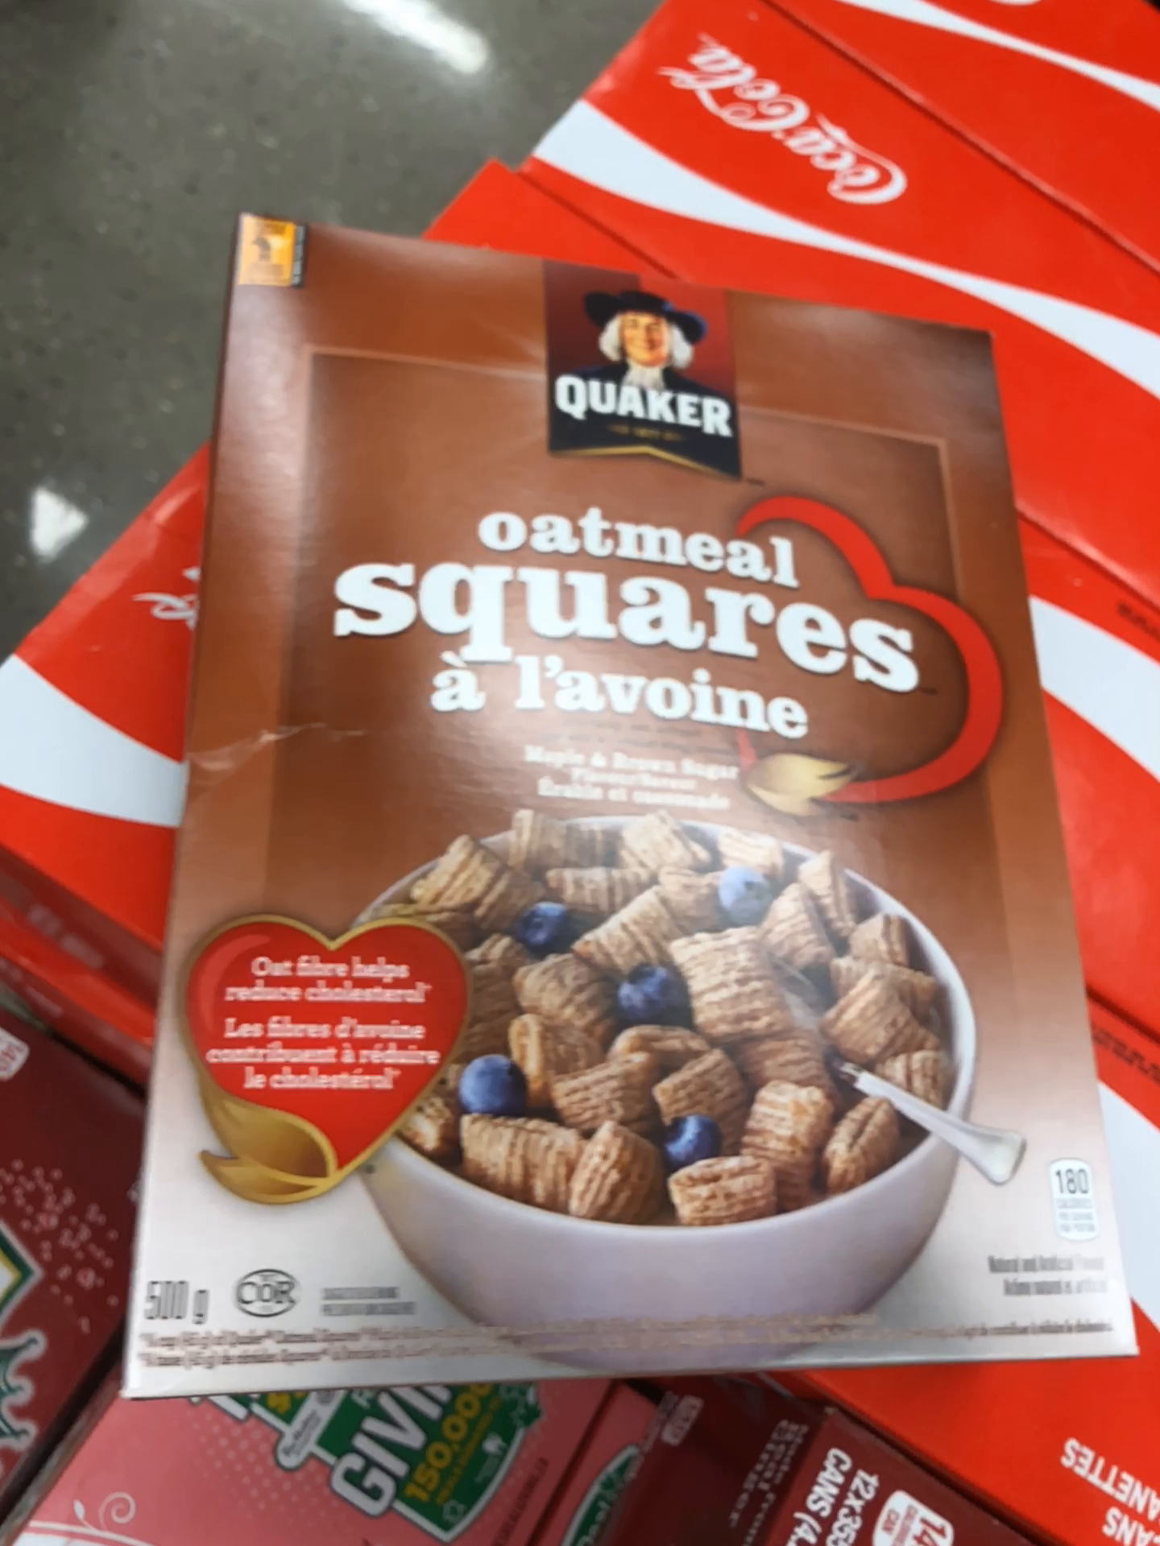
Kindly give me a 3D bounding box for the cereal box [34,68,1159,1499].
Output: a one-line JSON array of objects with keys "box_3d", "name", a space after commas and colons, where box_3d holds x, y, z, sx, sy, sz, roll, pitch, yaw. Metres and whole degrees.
[{"box_3d": [0.024, -0.008, 0.302, 0.240, 0.050, 0.290, 4, 70, -14], "name": "cereal box"}]
